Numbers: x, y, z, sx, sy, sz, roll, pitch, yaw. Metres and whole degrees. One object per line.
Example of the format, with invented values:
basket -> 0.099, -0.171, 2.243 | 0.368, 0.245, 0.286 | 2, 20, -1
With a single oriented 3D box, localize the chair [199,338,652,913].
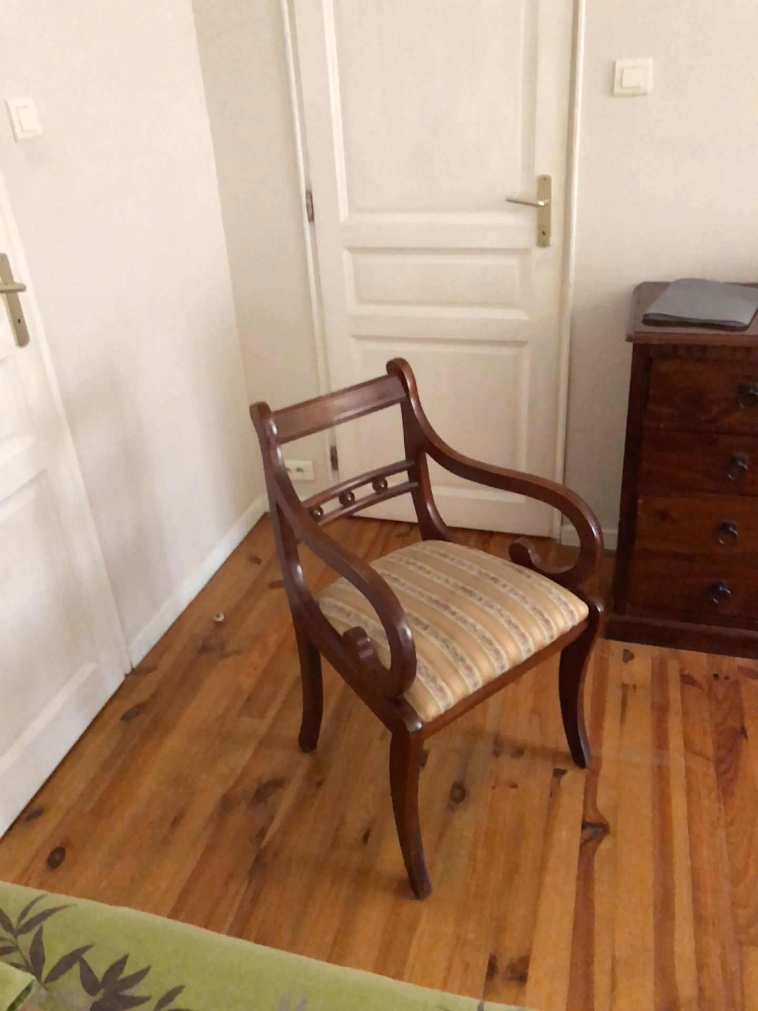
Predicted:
chair -> 0.094, 0.185, 1.680 | 0.583, 0.825, 0.571 | -23, 33, -32
